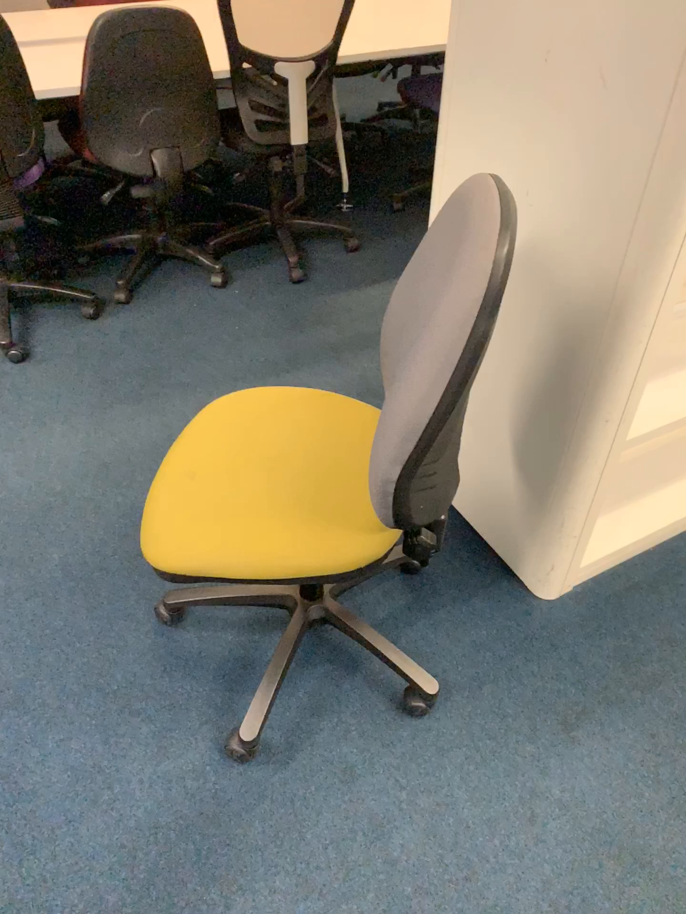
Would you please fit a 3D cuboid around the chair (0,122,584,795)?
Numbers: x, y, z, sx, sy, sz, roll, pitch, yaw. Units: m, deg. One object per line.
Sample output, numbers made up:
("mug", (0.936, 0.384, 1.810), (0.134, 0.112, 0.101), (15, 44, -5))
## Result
("chair", (-0.081, 0.023, 1.215), (0.660, 0.921, 0.646), (5, 42, 4))
